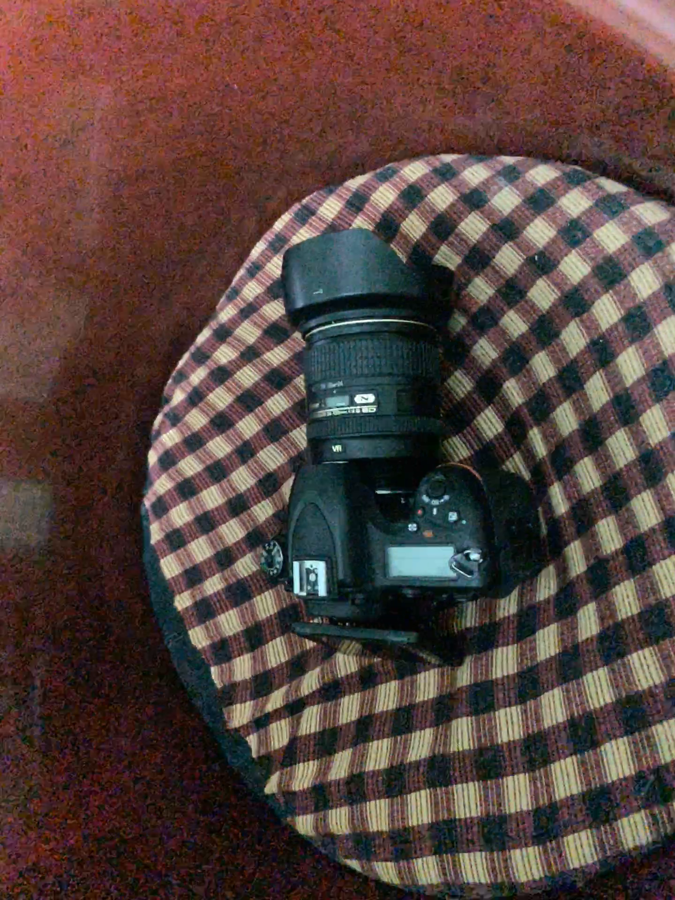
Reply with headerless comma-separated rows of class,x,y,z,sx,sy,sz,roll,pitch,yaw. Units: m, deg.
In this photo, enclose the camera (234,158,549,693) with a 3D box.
camera,0.032,-0.007,0.400,0.141,0.101,0.250,-5,80,36
